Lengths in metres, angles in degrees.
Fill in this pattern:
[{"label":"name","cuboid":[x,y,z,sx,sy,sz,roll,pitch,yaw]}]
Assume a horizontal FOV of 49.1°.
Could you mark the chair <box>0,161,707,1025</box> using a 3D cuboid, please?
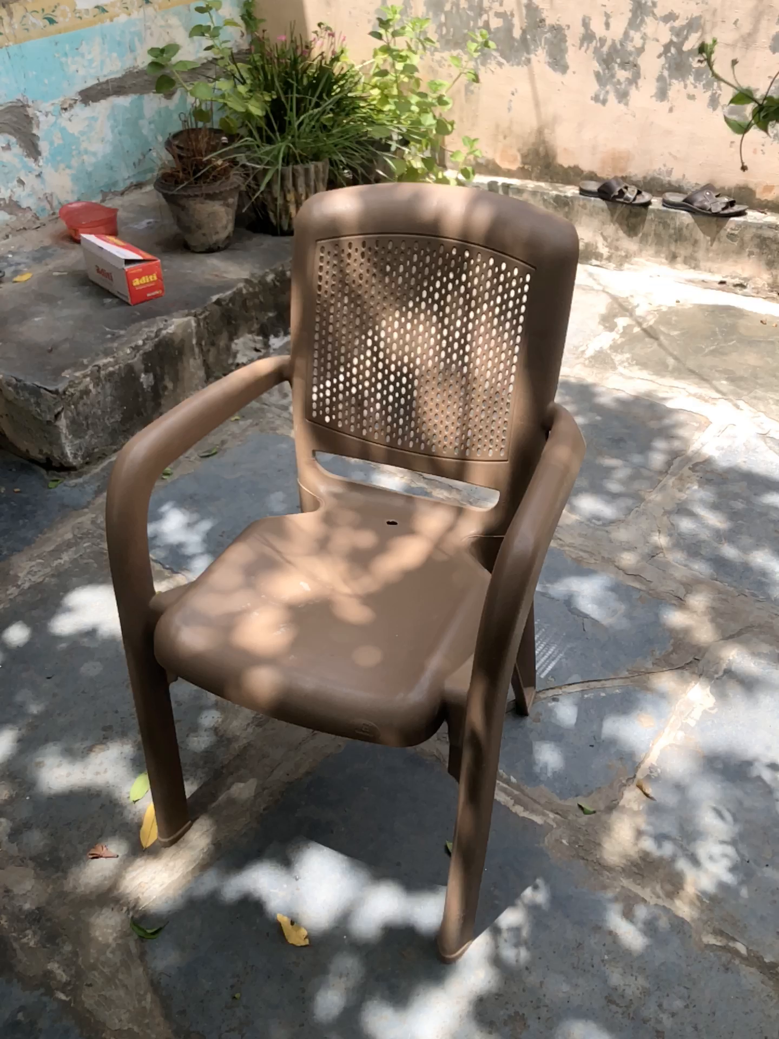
[{"label":"chair","cuboid":[-0.015,0.047,1.193,0.630,0.826,0.684,14,41,22]}]
